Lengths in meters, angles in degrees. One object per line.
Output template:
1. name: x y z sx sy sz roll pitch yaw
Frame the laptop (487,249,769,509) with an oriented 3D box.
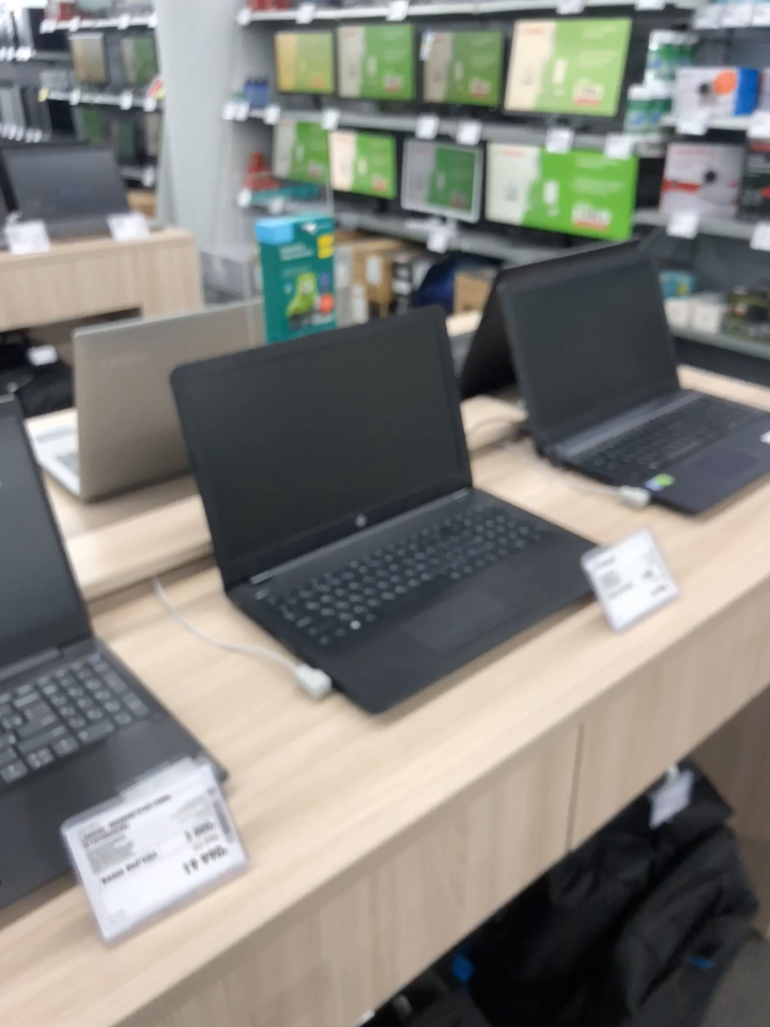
1. laptop: 0.402 -0.215 1.218 0.370 0.209 0.334 -23 37 -38

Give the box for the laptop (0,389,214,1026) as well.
1. laptop: -0.357 0.094 0.626 0.332 0.213 0.328 -22 35 -36

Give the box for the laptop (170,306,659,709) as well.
1. laptop: 0.030 -0.044 0.895 0.367 0.216 0.312 -22 35 -36
